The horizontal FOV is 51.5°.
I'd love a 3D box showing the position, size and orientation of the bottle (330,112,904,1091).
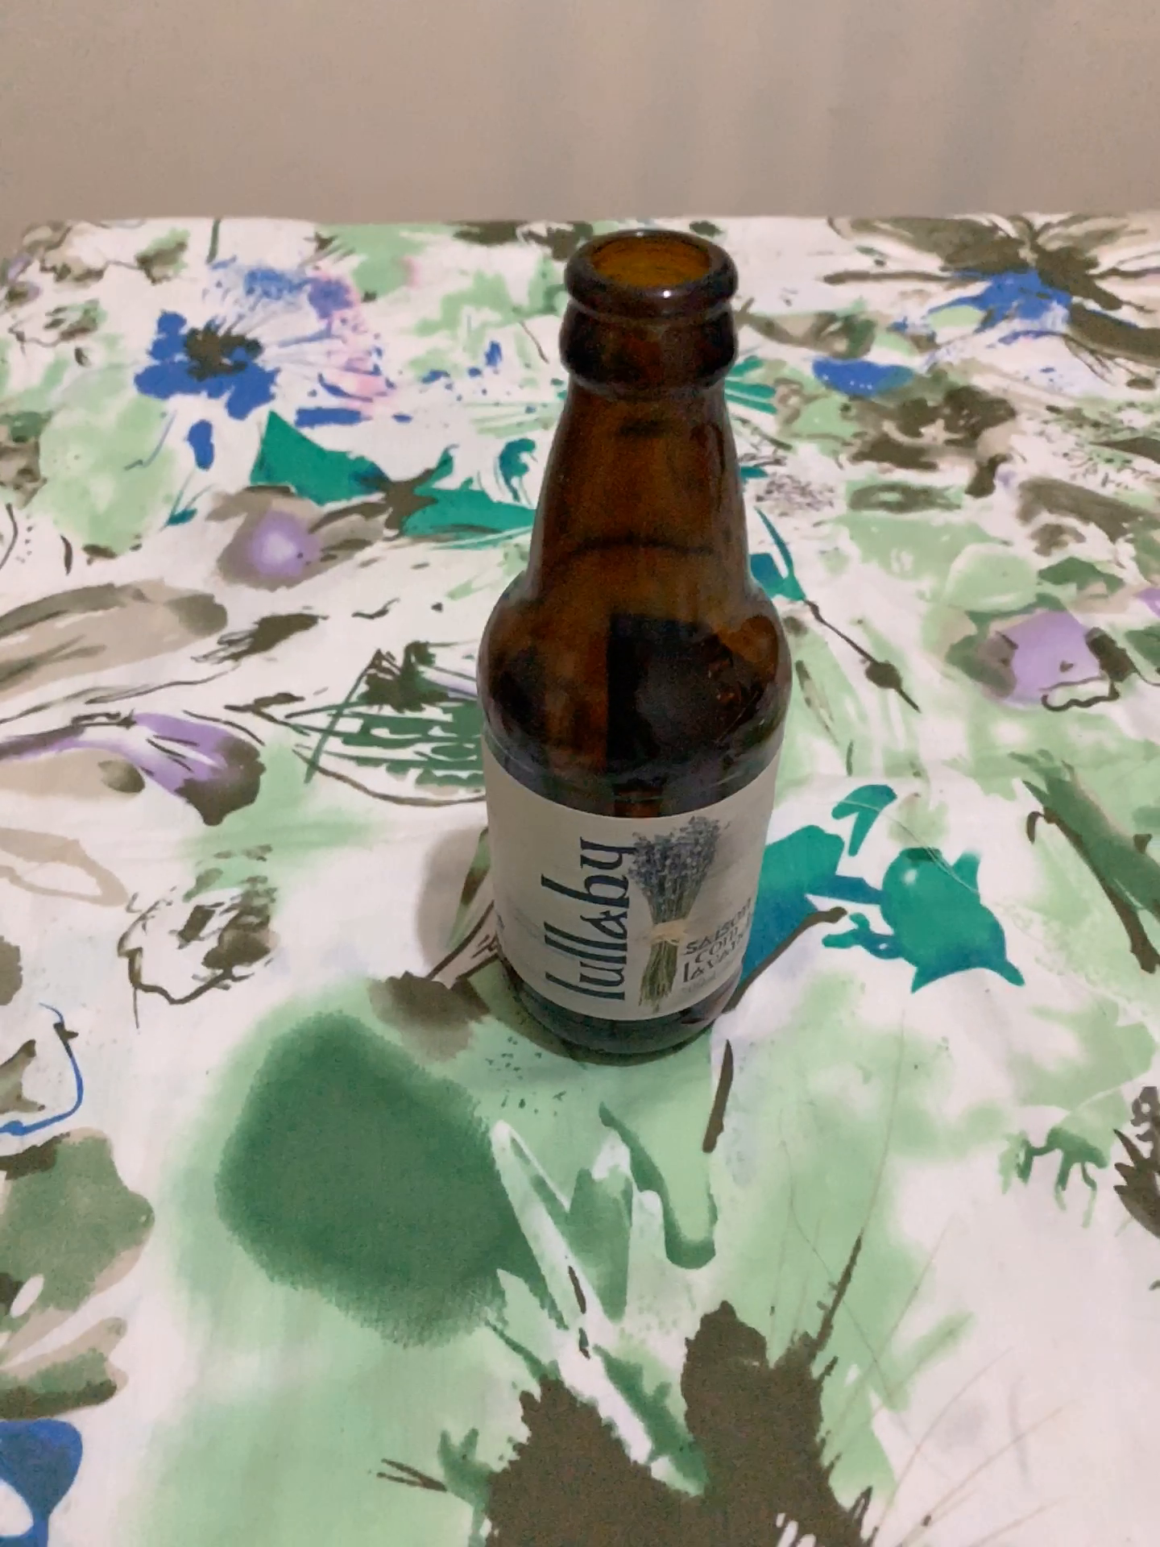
[{"bbox_3d":[0.007,-0.018,0.235,0.070,0.179,0.070,0,46,0],"label":"bottle"}]
